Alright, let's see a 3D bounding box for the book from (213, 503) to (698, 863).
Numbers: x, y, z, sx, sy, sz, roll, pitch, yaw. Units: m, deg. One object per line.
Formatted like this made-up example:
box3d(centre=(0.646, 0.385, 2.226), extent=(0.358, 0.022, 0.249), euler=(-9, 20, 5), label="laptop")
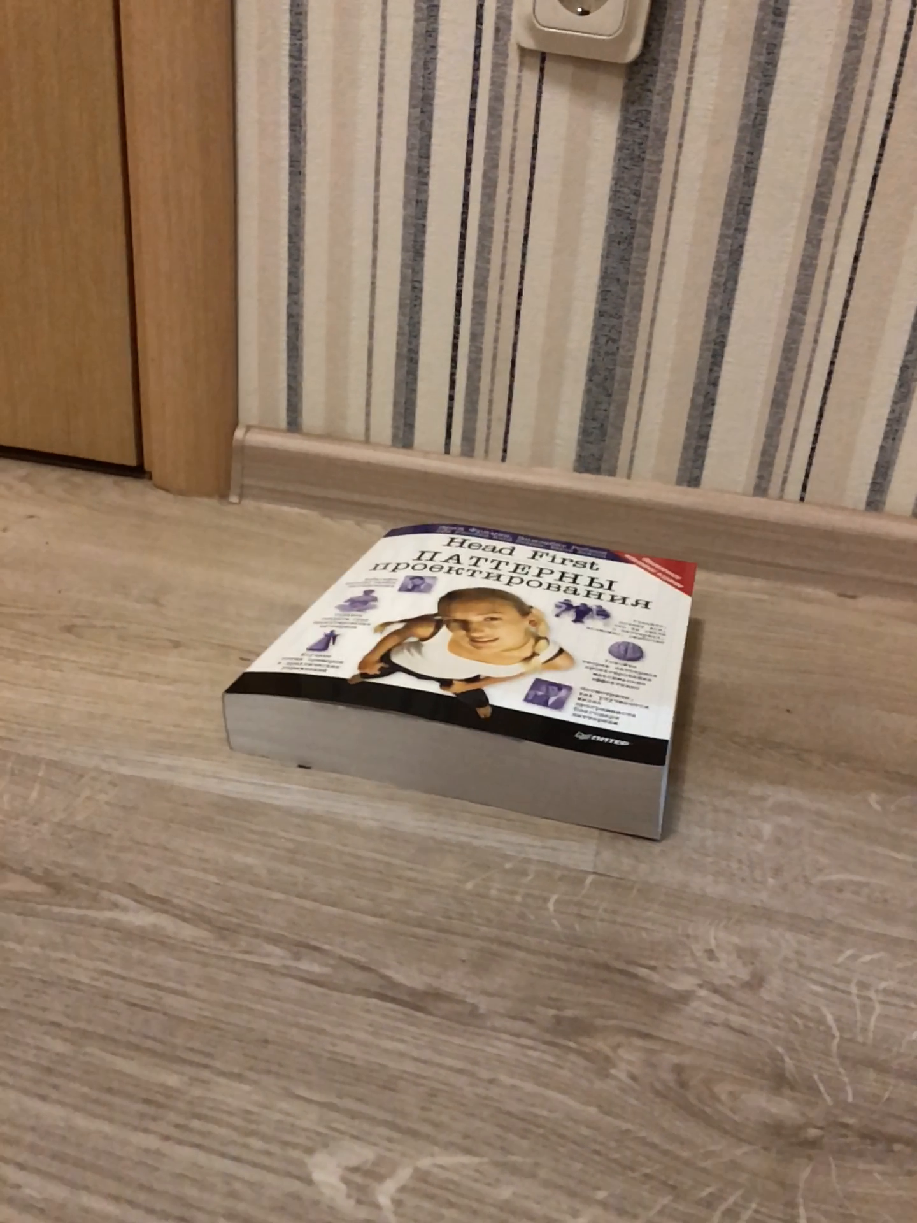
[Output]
box3d(centre=(0.017, 0.019, 0.551), extent=(0.206, 0.049, 0.241), euler=(11, 27, 11), label="book")
